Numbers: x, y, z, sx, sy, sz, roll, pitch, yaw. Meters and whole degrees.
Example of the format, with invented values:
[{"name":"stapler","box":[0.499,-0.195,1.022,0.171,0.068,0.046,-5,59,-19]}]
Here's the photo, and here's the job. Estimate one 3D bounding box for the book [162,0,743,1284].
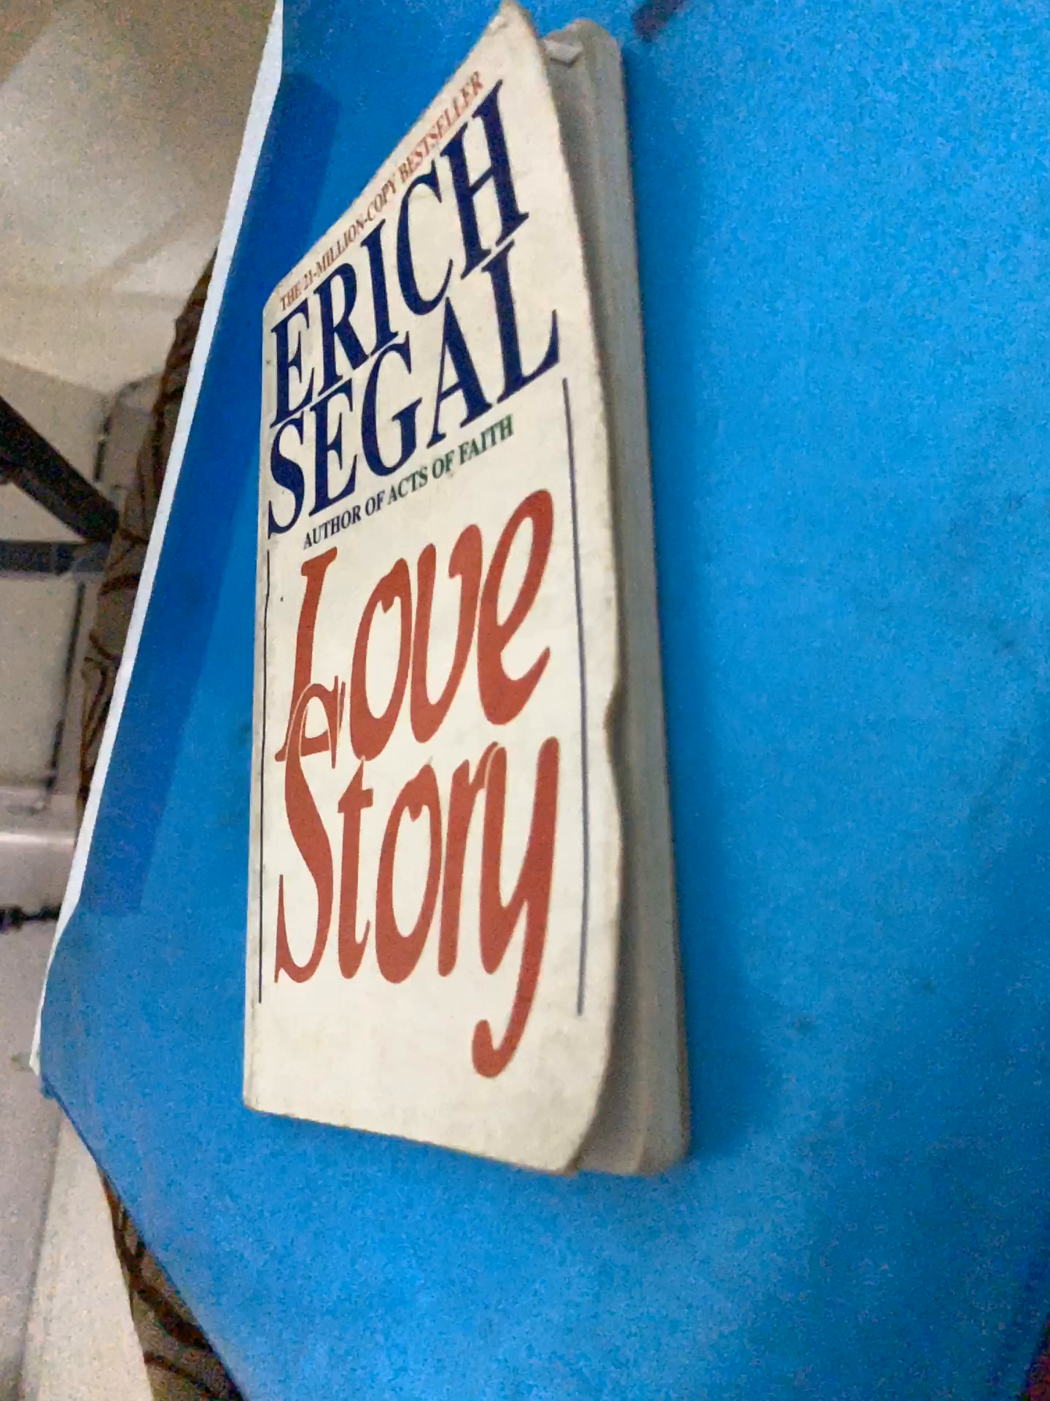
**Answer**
[{"name":"book","box":[-0.021,-0.015,0.182,0.111,0.020,0.180,-14,72,45]}]
